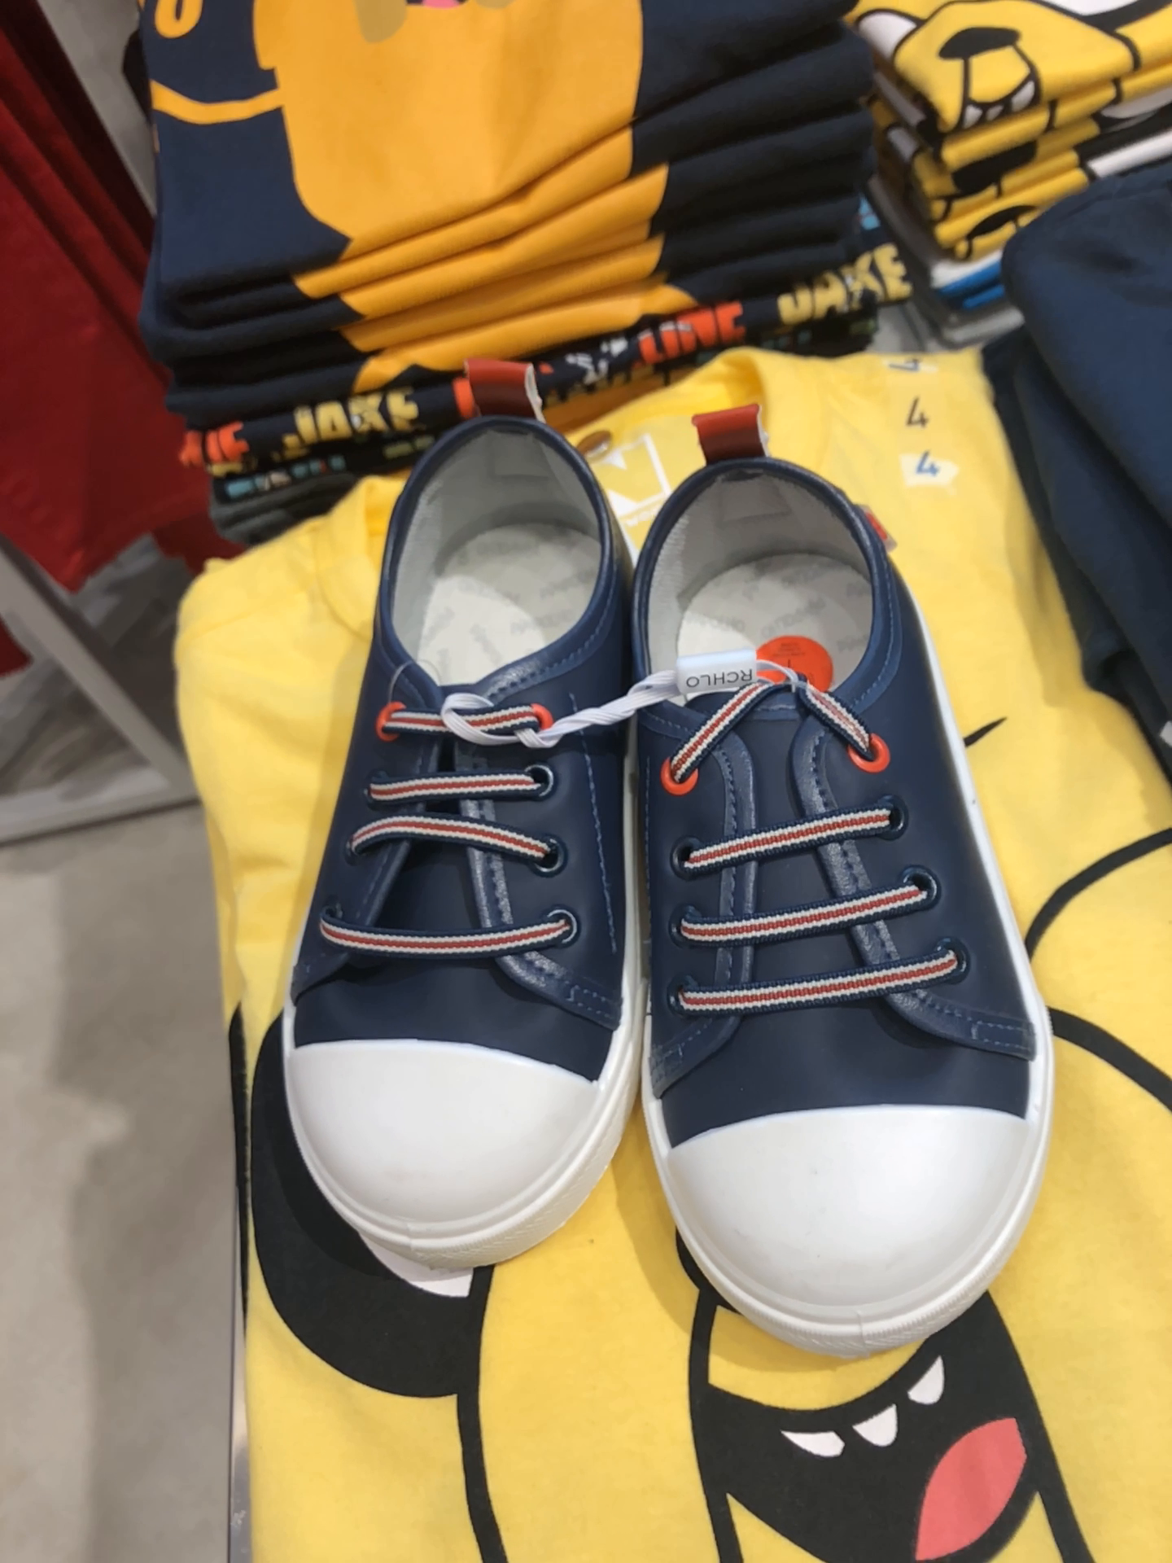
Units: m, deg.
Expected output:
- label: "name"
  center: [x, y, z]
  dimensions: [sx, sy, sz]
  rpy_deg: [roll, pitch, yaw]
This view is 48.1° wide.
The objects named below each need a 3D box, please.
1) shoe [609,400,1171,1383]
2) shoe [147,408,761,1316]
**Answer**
- label: "shoe"
  center: [0.054, 0.022, 0.258]
  dimensions: [0.080, 0.070, 0.171]
  rpy_deg: [-7, 66, 10]
- label: "shoe"
  center: [-0.014, 0.015, 0.262]
  dimensions: [0.080, 0.070, 0.161]
  rpy_deg: [2, 68, 15]
